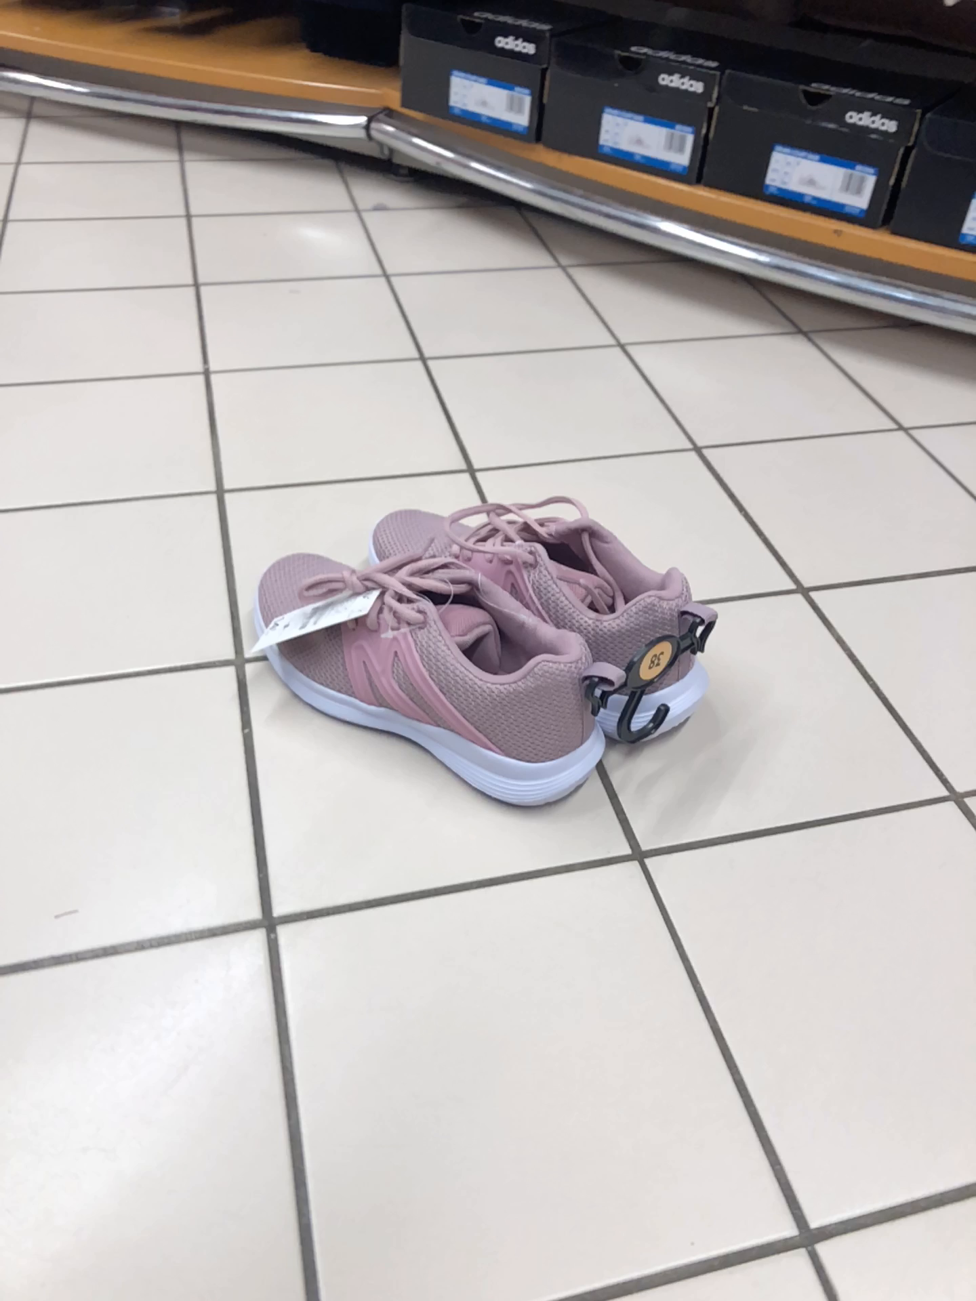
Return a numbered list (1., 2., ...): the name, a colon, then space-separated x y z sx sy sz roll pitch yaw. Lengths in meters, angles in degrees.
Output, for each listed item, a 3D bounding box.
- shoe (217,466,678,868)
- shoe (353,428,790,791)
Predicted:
1. shoe: -0.031 -0.001 0.647 0.260 0.099 0.103 30 47 27
2. shoe: 0.042 -0.037 0.685 0.260 0.092 0.101 31 48 28
